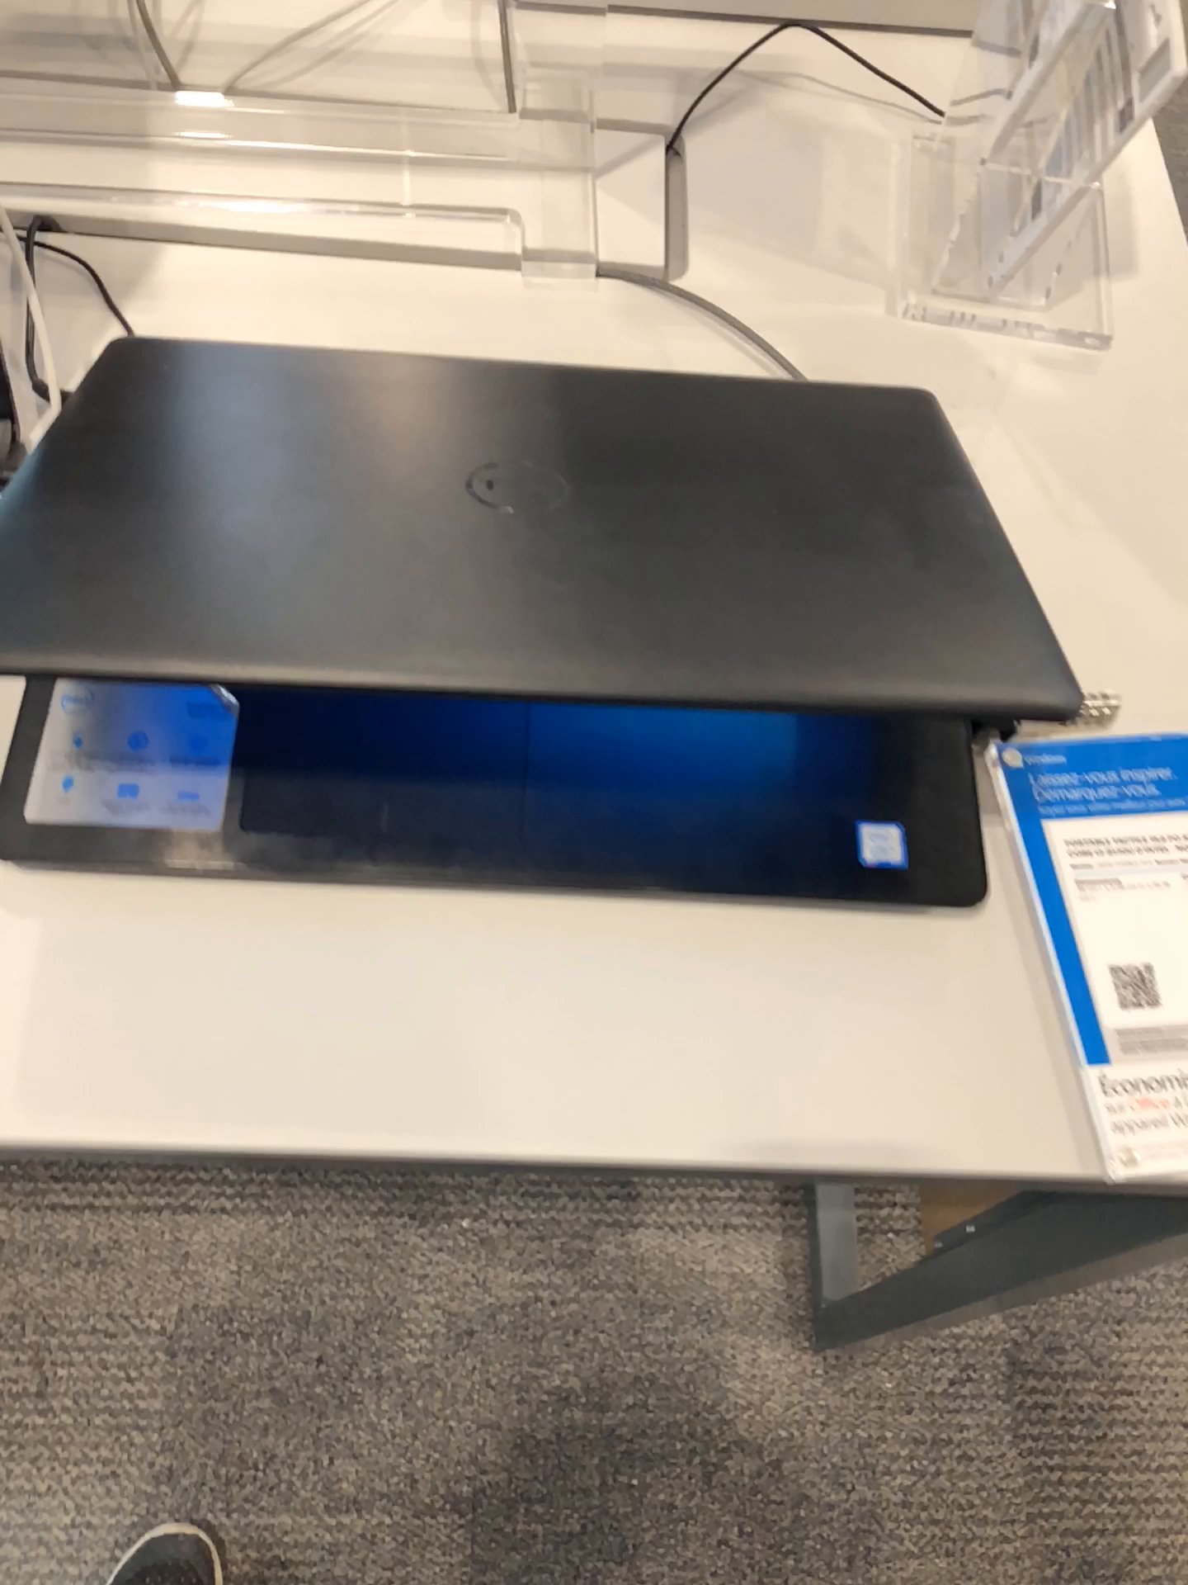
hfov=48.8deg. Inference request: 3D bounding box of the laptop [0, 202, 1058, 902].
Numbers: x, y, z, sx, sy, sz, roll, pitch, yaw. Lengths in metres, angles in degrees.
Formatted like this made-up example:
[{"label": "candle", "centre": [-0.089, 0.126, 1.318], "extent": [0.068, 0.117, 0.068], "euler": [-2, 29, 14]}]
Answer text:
[{"label": "laptop", "centre": [-0.028, -0.095, 0.505], "extent": [0.365, 0.080, 0.245], "euler": [4, 62, -4]}]
